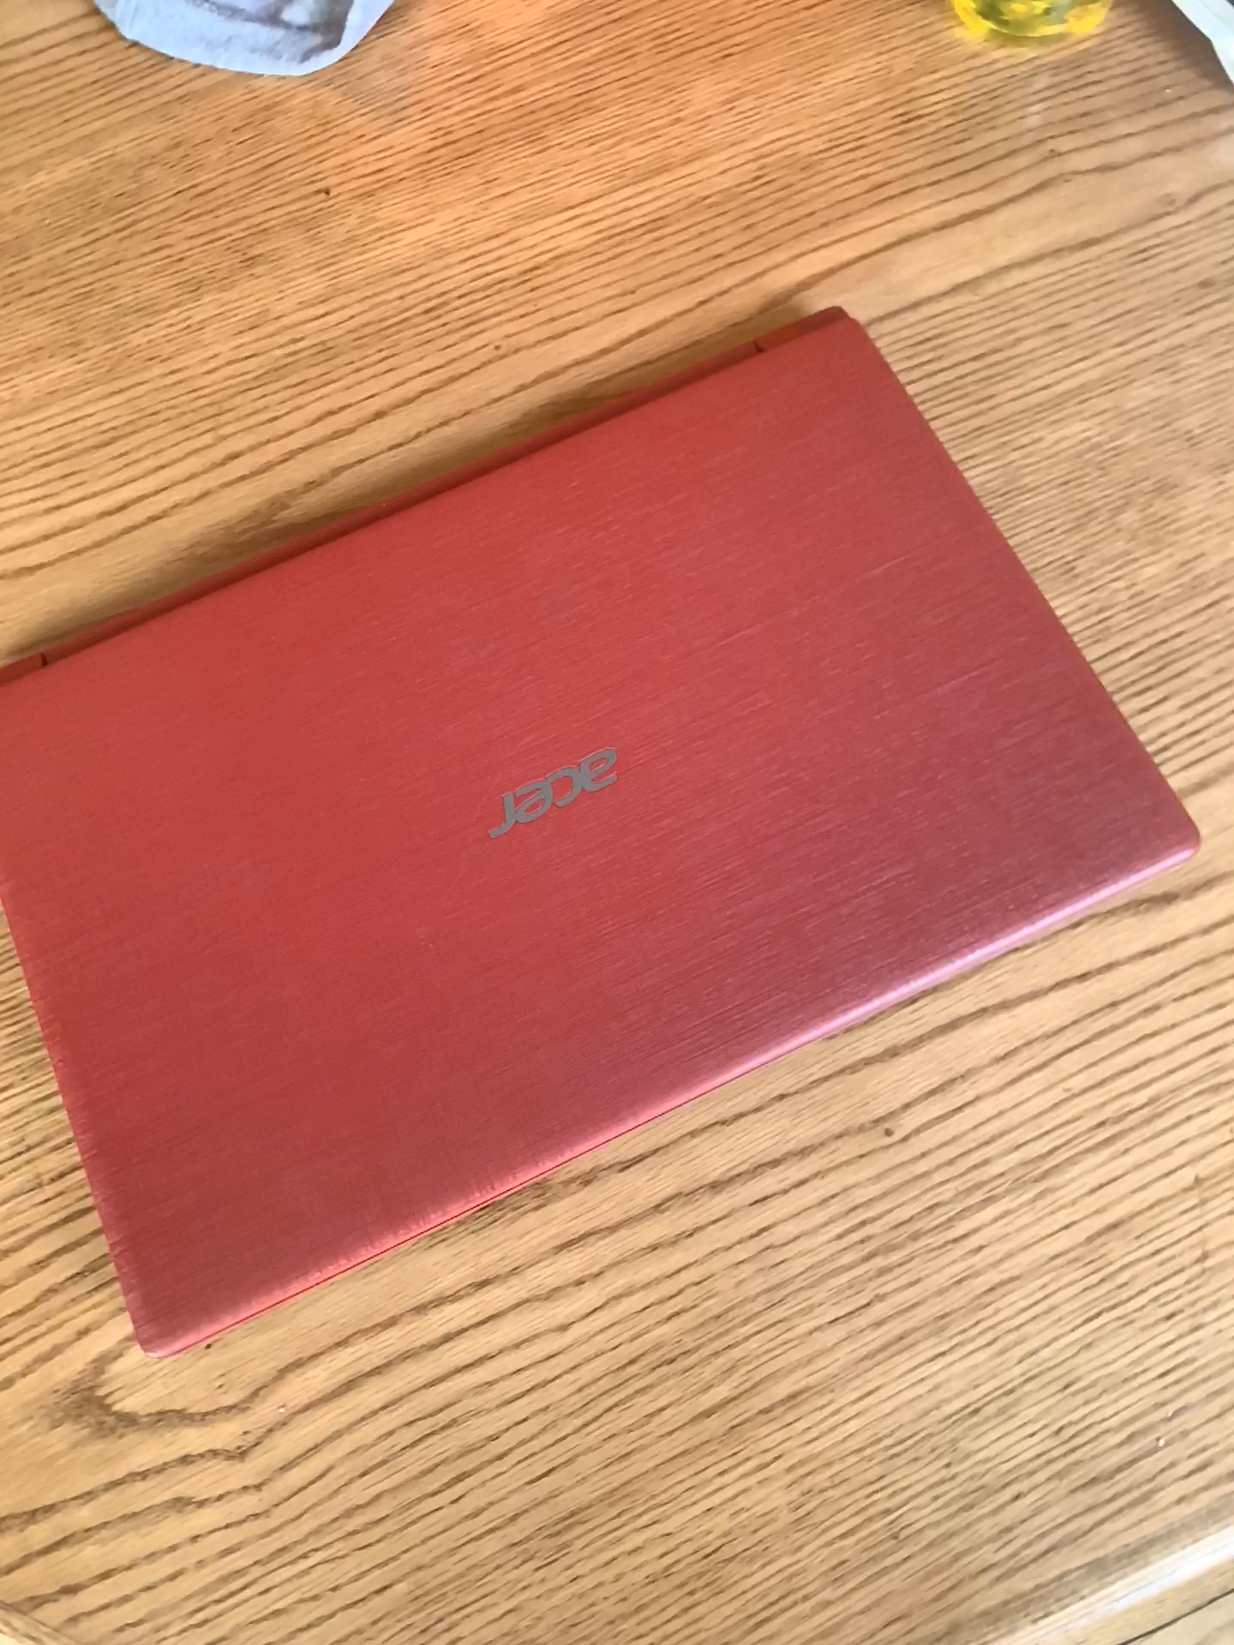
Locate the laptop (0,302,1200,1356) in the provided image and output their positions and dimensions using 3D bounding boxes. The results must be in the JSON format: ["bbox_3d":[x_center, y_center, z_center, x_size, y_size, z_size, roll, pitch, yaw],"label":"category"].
[{"bbox_3d":[-0.027,-0.014,0.435,0.362,0.013,0.236,-25,73,-3],"label":"laptop"}]
